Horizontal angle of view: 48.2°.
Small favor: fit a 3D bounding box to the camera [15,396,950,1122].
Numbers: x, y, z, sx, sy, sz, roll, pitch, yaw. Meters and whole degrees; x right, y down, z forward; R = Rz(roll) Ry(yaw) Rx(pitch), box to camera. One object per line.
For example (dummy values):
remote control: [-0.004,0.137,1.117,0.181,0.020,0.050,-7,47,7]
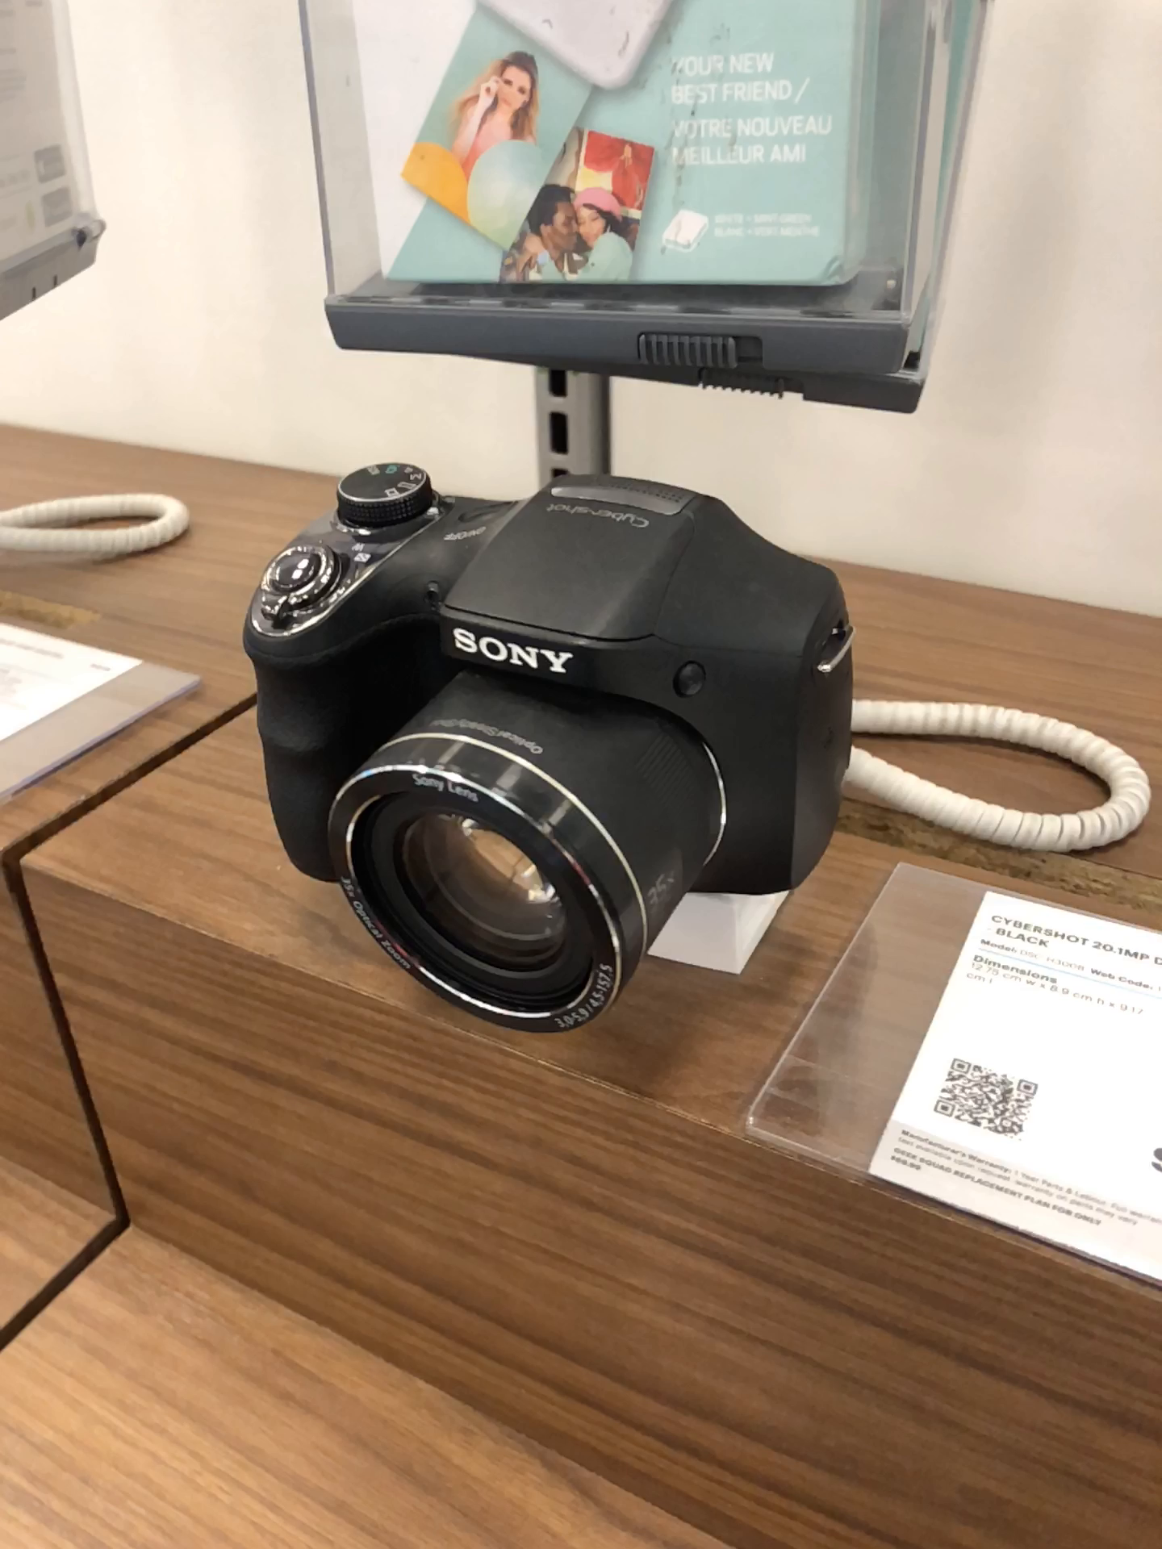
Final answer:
camera: [-0.013,-0.019,0.274,0.140,0.080,0.120,14,33,26]
